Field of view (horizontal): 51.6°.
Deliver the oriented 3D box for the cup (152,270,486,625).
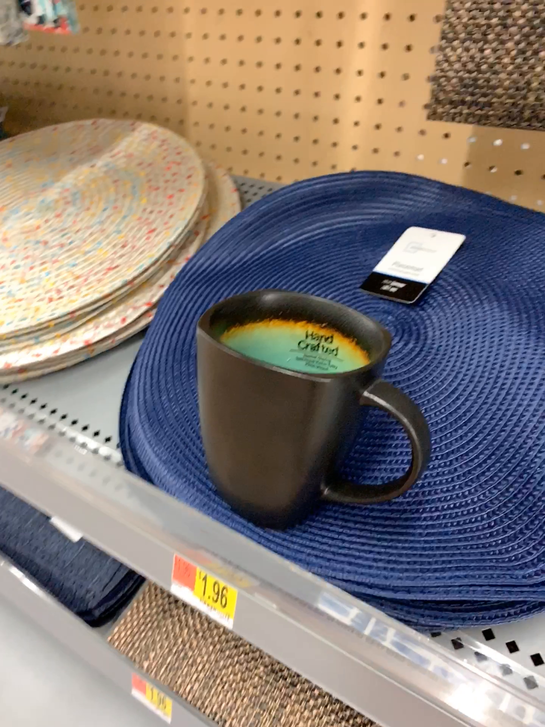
[{"bbox_3d":[0.018,0.032,0.294,0.130,0.109,0.090,24,36,31],"label":"cup"}]
